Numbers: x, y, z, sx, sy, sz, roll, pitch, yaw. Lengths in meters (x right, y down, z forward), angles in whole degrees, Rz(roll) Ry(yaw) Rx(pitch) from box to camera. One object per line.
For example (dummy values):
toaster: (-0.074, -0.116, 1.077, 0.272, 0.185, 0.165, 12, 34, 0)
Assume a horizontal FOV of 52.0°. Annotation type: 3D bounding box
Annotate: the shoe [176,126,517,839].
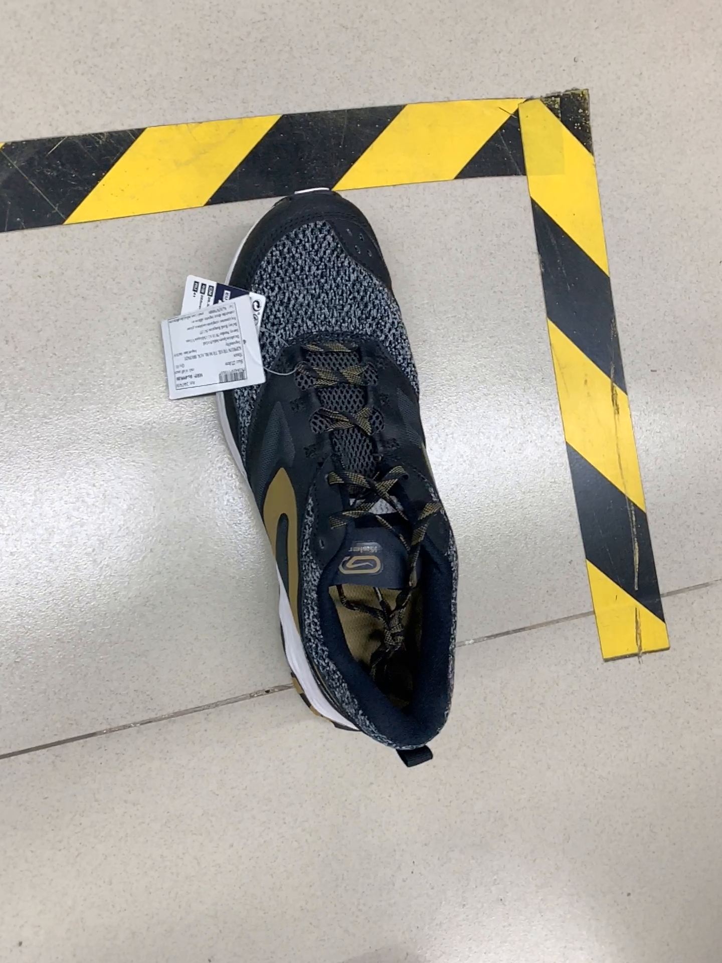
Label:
shoe: (-0.012, -0.002, 0.374, 0.110, 0.100, 0.300, -9, 92, -11)
